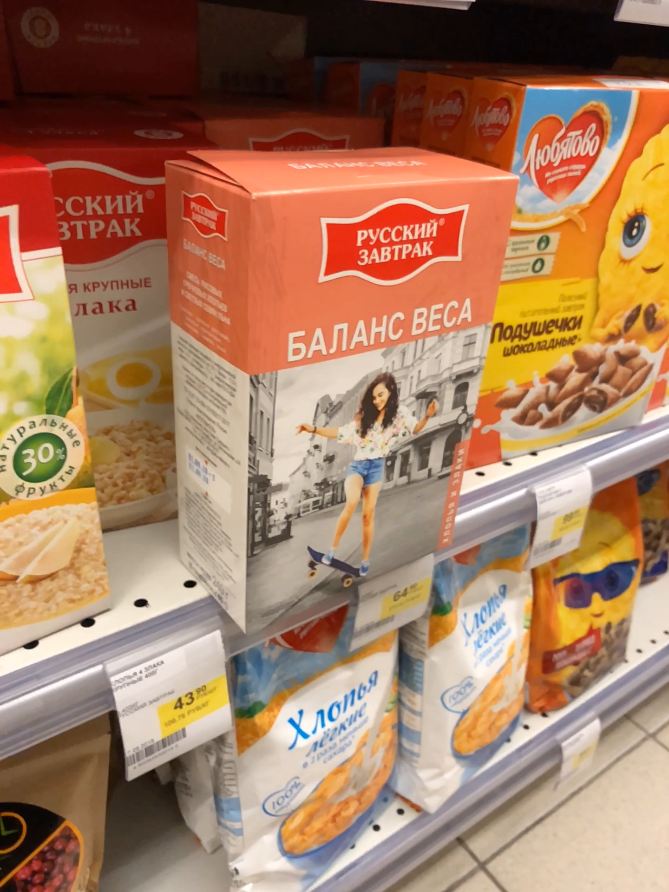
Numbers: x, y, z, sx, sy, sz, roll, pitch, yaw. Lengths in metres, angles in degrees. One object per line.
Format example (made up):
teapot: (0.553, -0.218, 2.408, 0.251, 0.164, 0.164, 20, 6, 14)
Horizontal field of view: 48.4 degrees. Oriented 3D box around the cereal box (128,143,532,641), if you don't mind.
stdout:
cereal box: (-0.004, -0.030, 0.327, 0.140, 0.179, 0.070, -17, 36, -34)
